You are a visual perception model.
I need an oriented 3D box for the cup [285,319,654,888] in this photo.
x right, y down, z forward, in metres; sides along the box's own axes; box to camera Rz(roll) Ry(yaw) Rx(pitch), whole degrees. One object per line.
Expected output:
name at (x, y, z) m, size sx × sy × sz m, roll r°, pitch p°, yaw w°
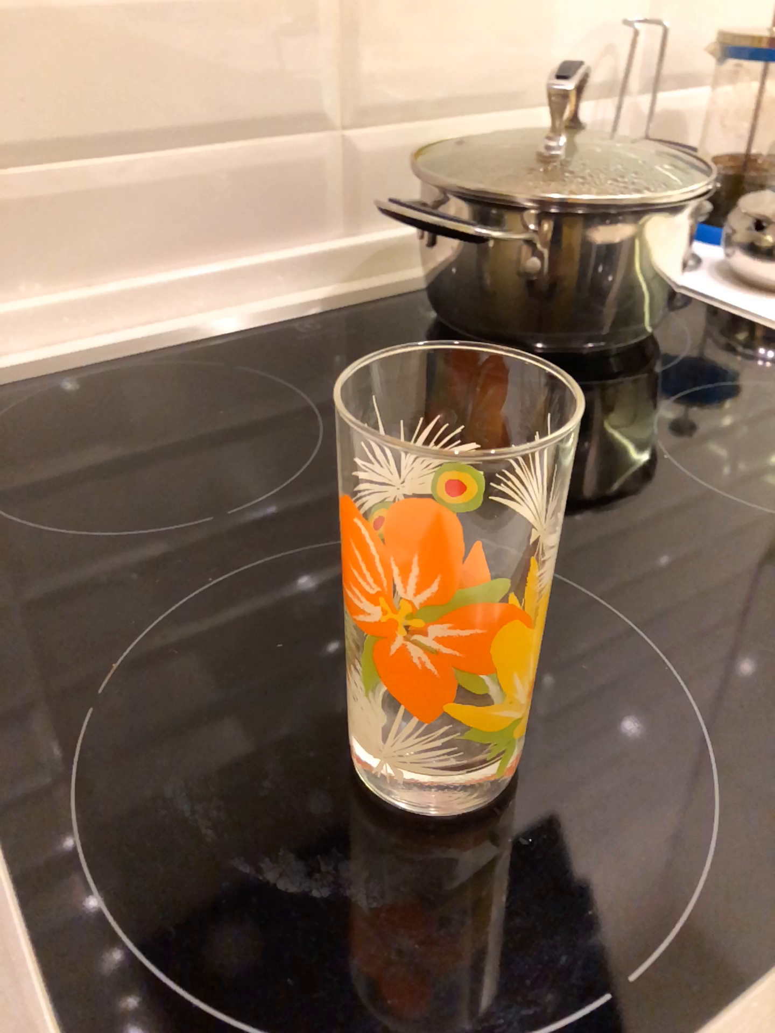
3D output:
cup at (0.019, 0.026, 0.250) m, size 0.063 × 0.138 × 0.067 m, roll 0°, pitch 34°, yaw 0°
